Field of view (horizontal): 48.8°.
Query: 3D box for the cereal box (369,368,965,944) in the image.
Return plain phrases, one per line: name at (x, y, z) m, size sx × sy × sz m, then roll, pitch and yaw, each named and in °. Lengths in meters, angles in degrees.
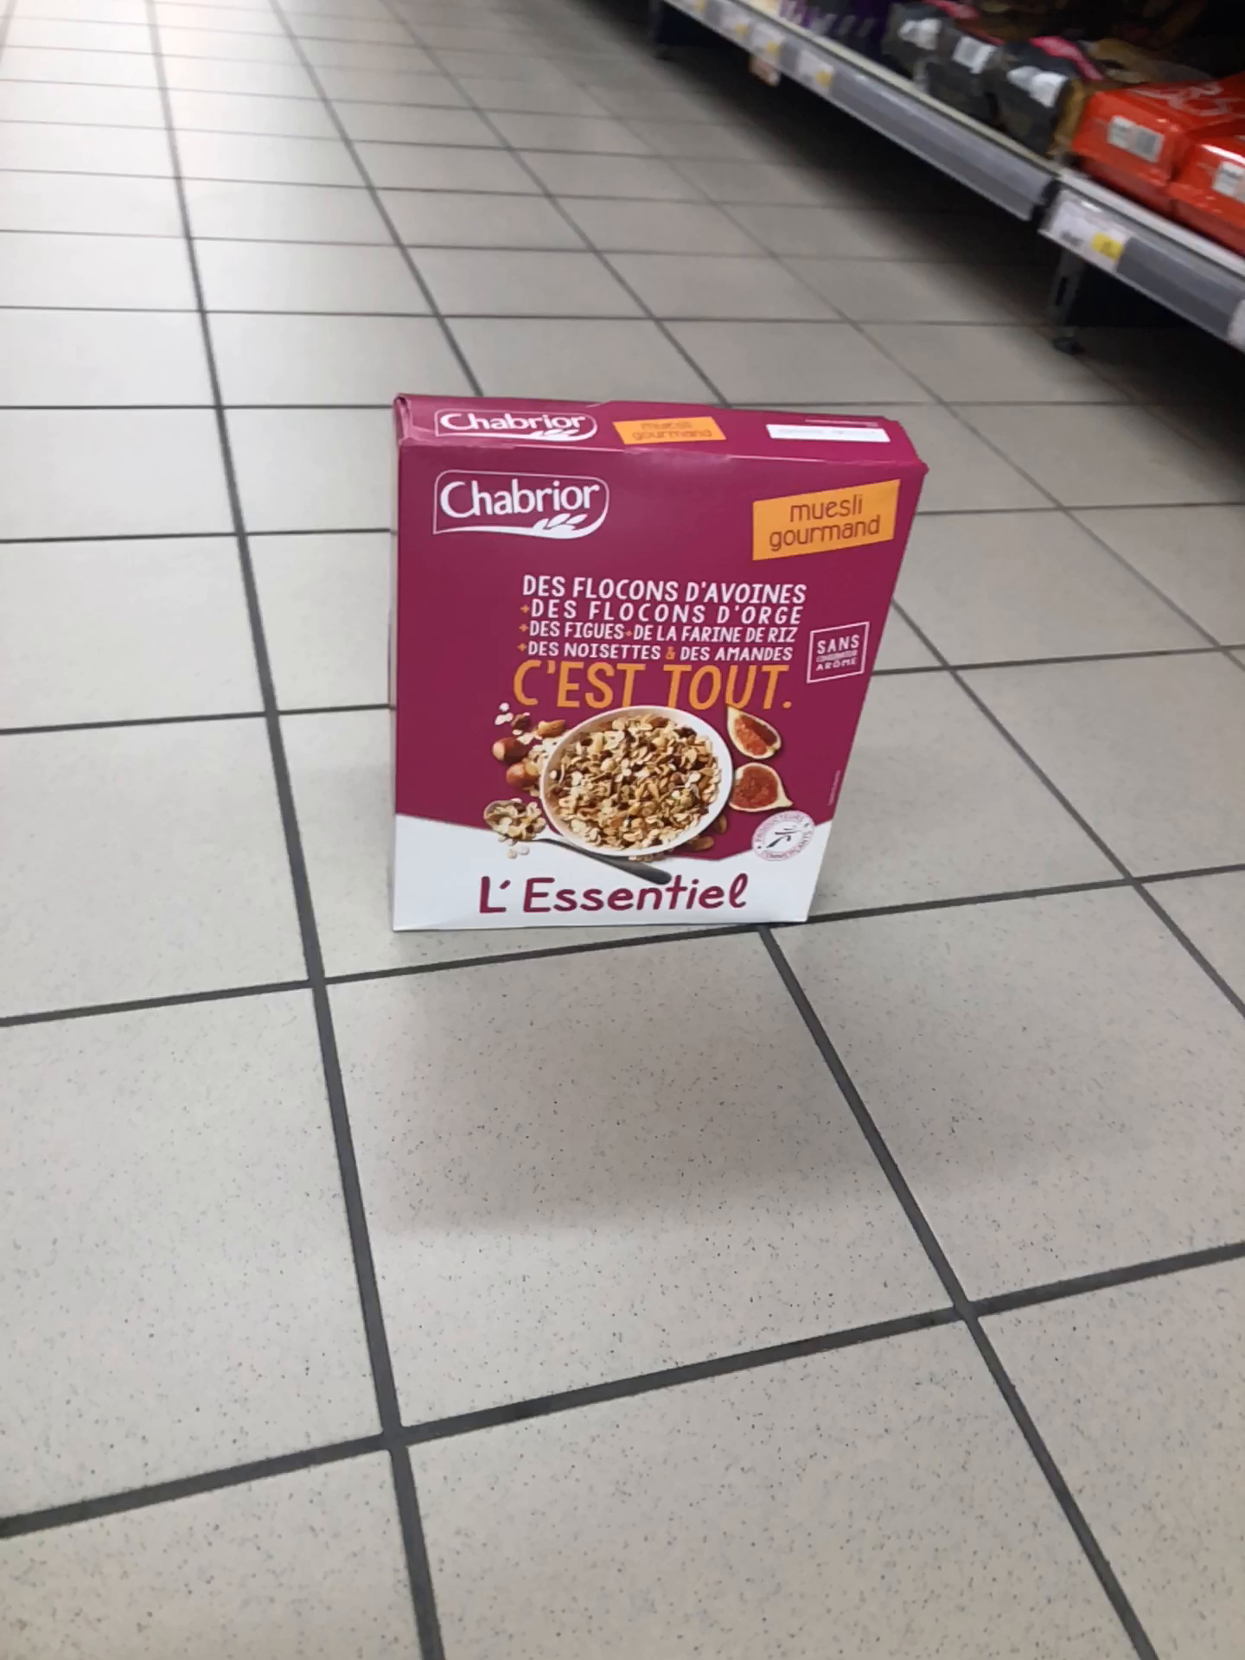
cereal box at (0.003, -0.060, 0.565) m, size 0.210 × 0.229 × 0.060 m, roll 0°, pitch 38°, yaw -11°
